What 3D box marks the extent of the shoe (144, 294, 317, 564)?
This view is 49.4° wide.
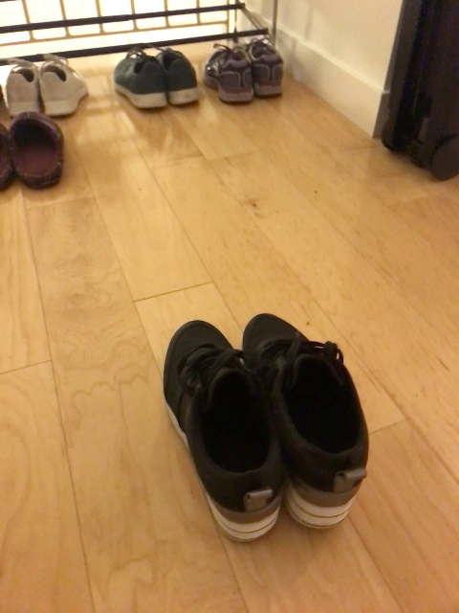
[{"bbox_3d":[-0.012,0.113,0.533,0.100,0.099,0.251,-12,44,-14],"label":"shoe"}]

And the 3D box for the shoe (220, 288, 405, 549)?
[{"bbox_3d":[0.070,0.105,0.546,0.110,0.099,0.252,-9,43,-10],"label":"shoe"}]
